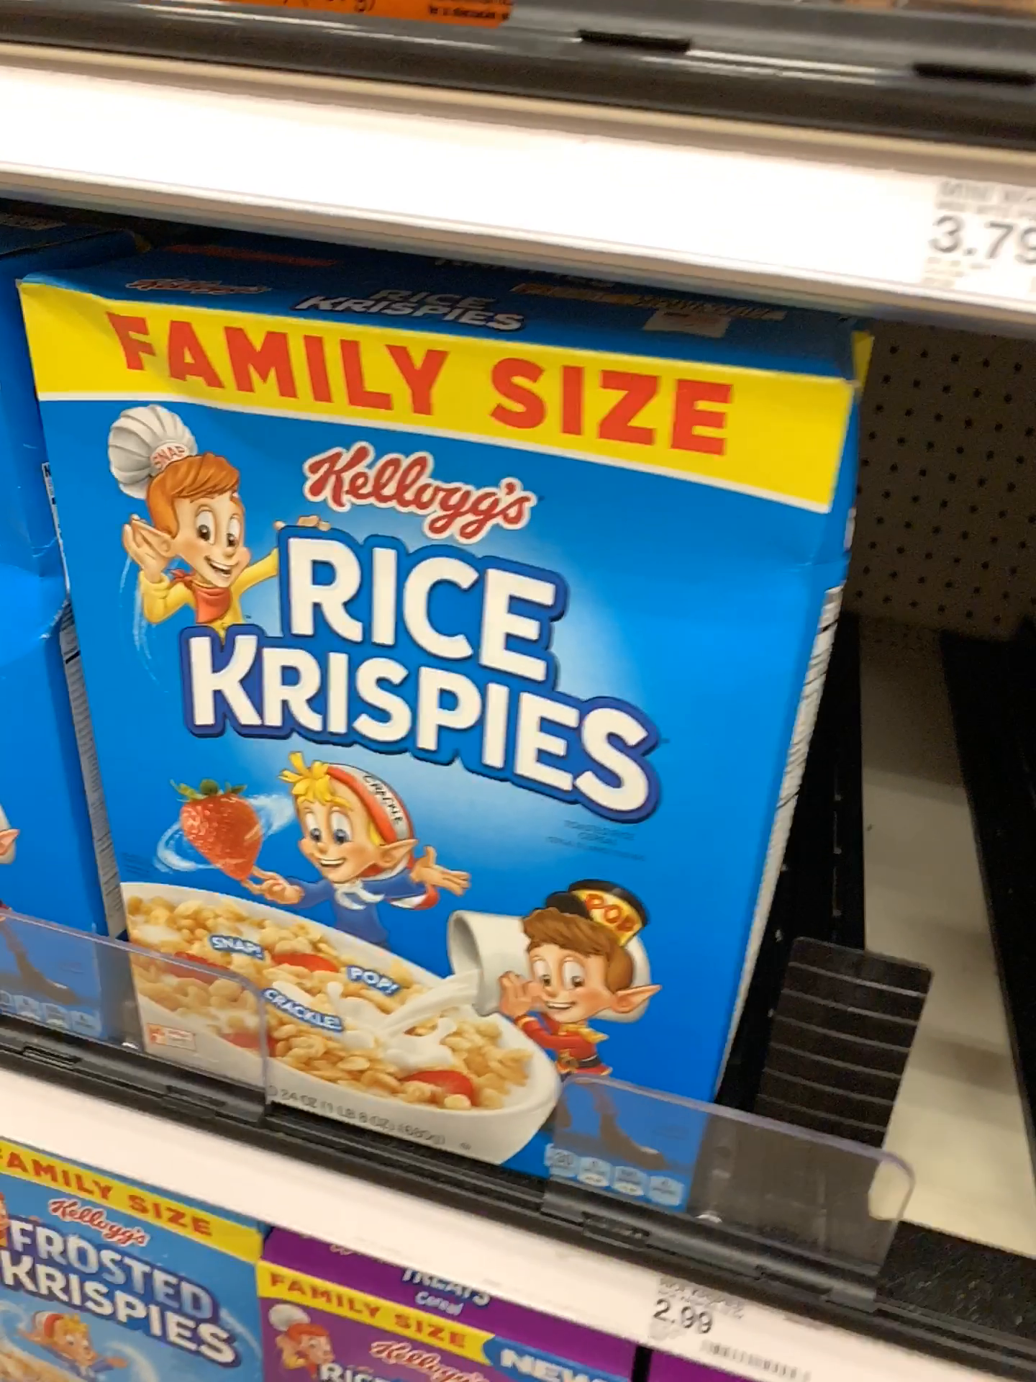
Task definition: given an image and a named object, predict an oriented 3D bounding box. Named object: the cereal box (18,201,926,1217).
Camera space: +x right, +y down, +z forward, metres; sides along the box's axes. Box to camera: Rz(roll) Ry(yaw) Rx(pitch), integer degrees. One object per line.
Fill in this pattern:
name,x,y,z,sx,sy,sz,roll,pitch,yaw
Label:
cereal box,-0.024,0.019,0.413,0.250,0.348,0.101,11,30,9
